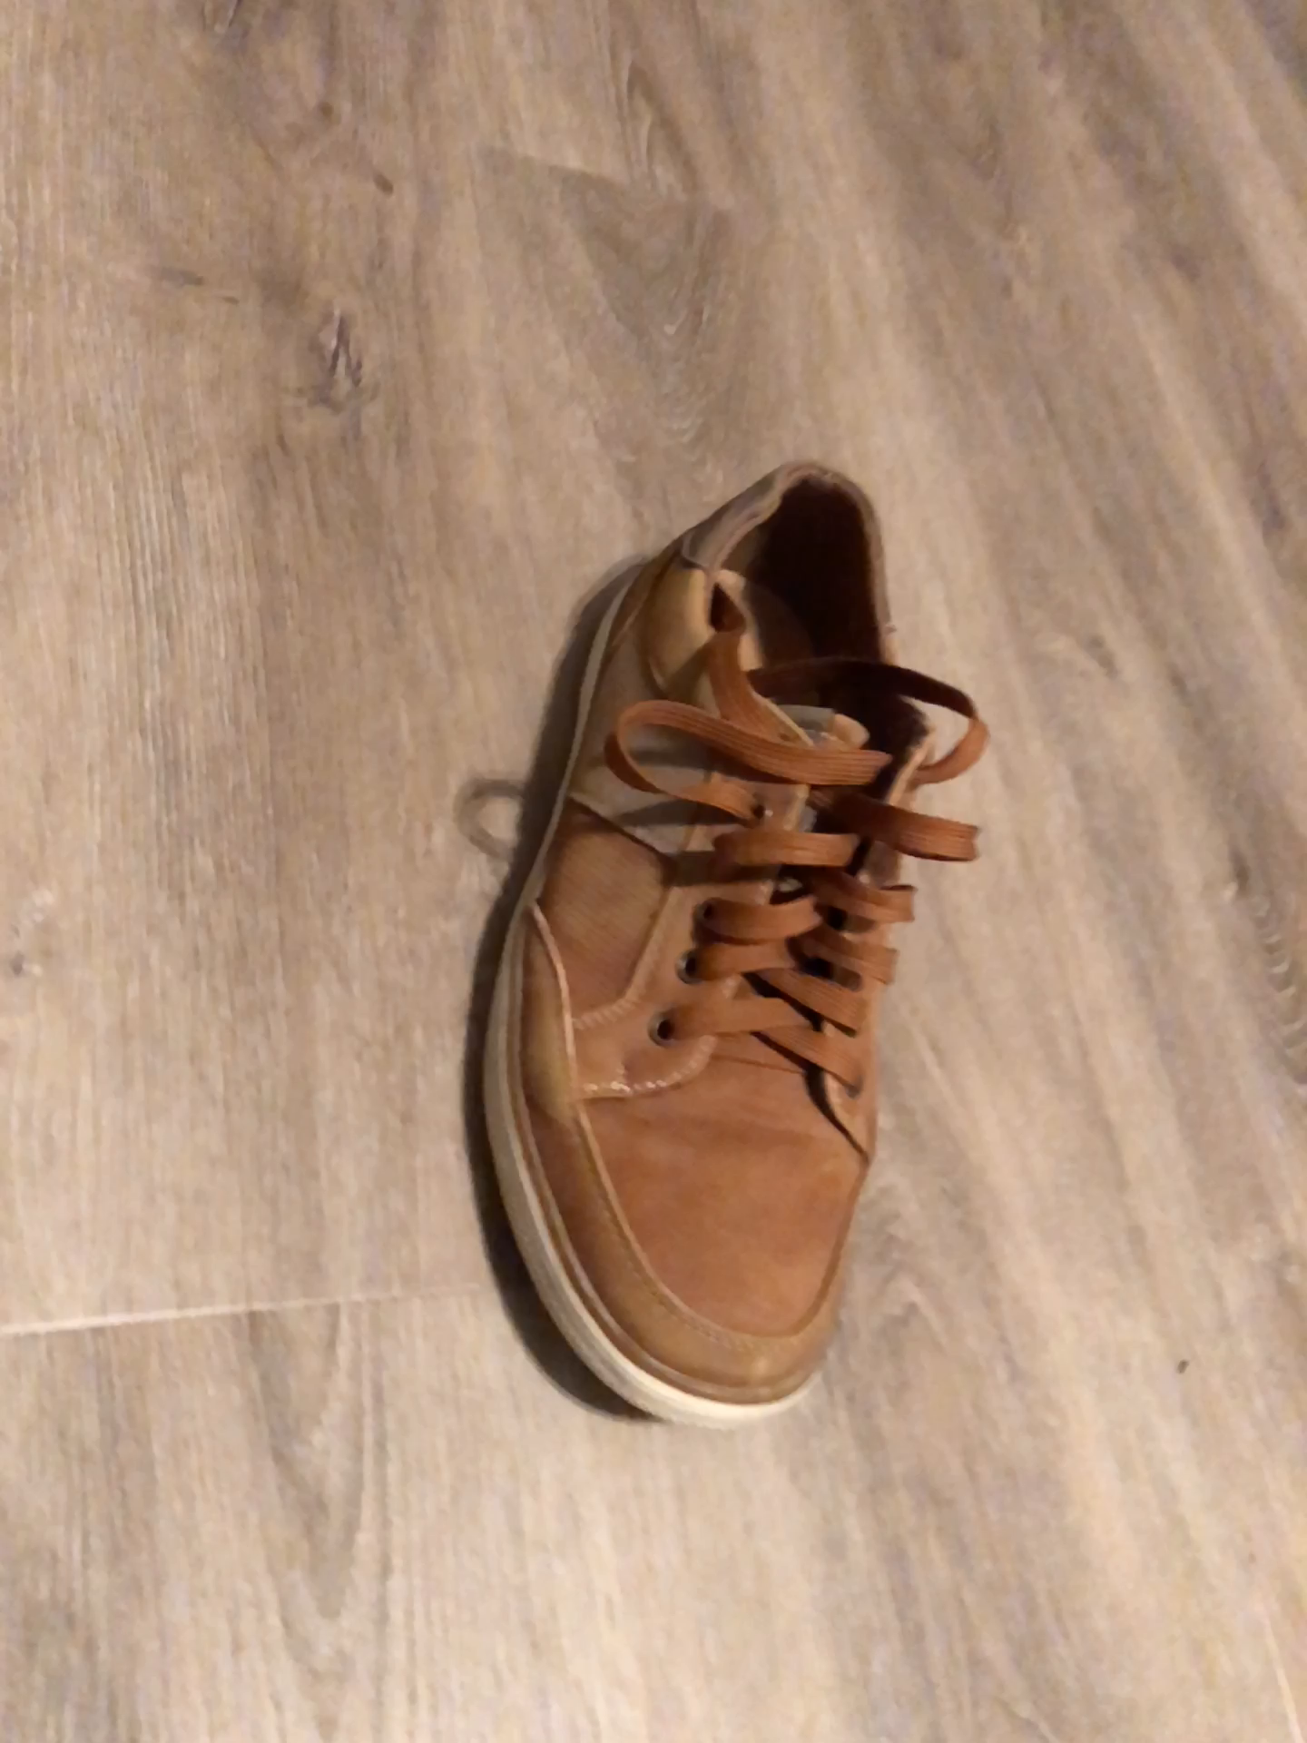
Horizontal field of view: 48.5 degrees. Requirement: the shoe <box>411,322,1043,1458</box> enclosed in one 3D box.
[{"bbox_3d":[0.023,-0.001,0.401,0.110,0.100,0.280,17,57,-18],"label":"shoe"}]
